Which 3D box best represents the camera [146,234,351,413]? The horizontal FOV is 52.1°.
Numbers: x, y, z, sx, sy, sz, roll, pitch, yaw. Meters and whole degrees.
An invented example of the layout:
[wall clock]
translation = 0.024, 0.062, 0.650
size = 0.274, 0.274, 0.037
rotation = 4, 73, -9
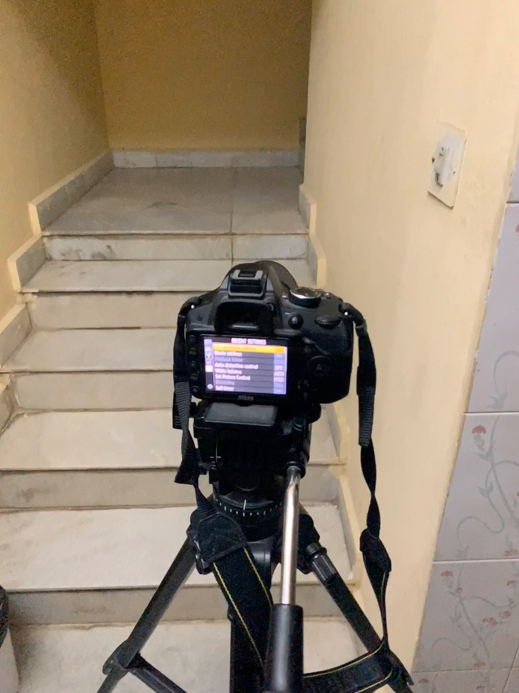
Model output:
[camera]
translation = -0.002, -0.025, 0.422
size = 0.134, 0.090, 0.131
rotation = 3, 27, 5
